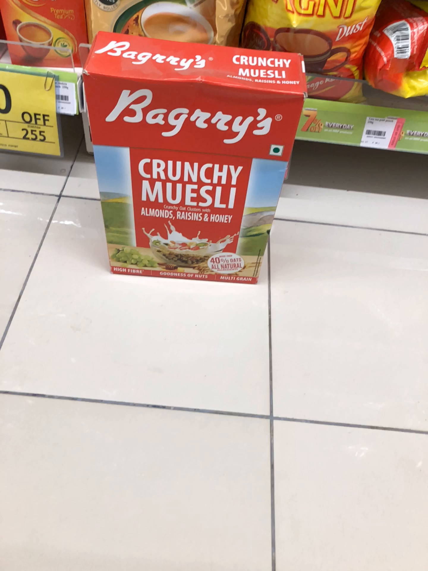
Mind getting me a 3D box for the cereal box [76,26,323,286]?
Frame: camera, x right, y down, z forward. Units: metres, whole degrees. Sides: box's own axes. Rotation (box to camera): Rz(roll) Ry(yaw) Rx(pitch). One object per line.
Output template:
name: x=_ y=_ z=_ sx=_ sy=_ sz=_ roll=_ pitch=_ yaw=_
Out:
cereal box: x=-0.020 y=-0.115 z=0.510 sx=0.200 sy=0.268 sz=0.070 roll=4 pitch=53 yaw=-3
